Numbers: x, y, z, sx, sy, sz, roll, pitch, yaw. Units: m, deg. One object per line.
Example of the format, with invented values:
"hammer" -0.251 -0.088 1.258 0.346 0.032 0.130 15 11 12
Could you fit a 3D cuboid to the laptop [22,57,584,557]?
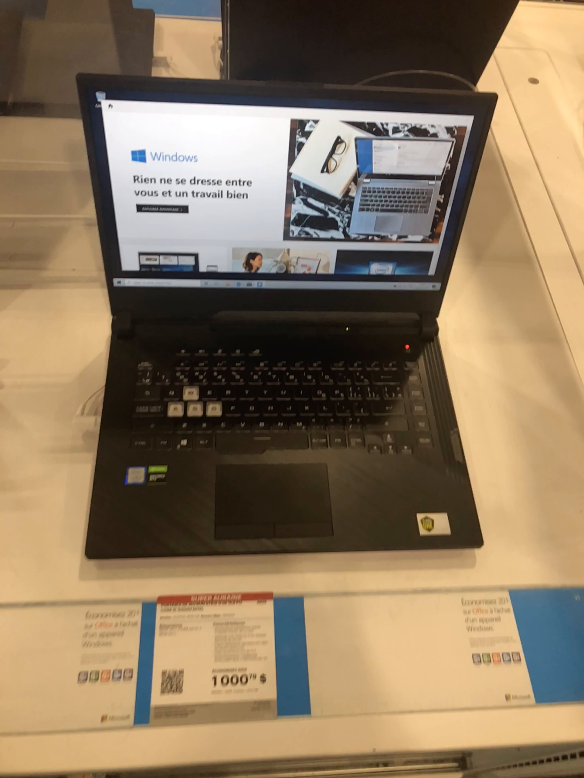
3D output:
"laptop" 0.002 -0.071 0.583 0.363 0.236 0.345 -1 60 -5
